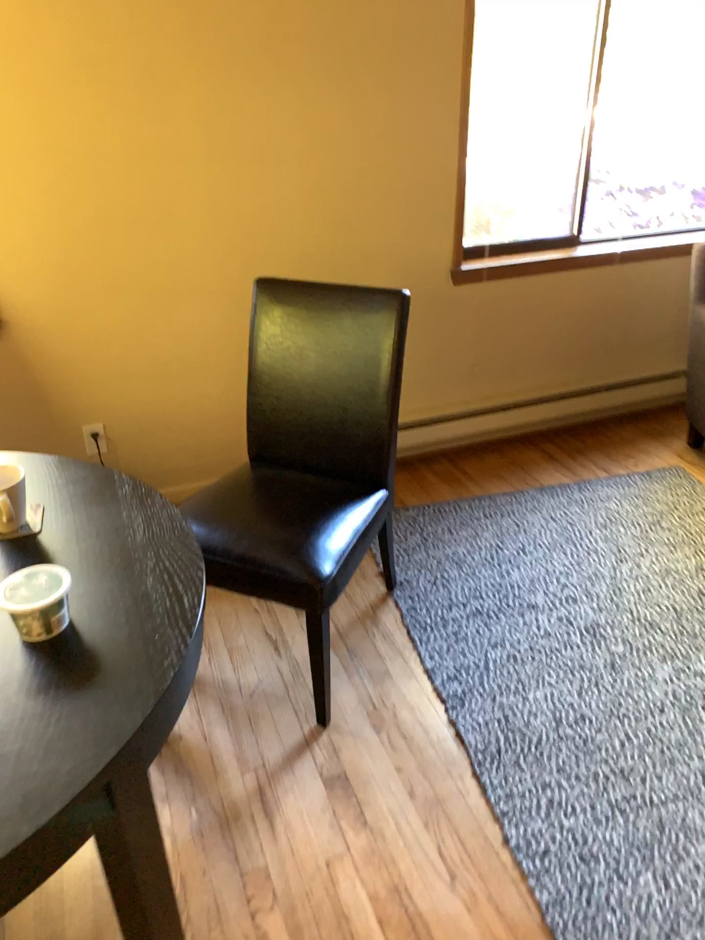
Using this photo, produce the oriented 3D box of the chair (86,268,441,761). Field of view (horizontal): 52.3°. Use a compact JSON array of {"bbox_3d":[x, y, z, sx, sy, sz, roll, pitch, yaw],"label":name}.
[{"bbox_3d":[-0.166,0.085,1.989,0.621,1.084,0.653,10,31,19],"label":"chair"}]
